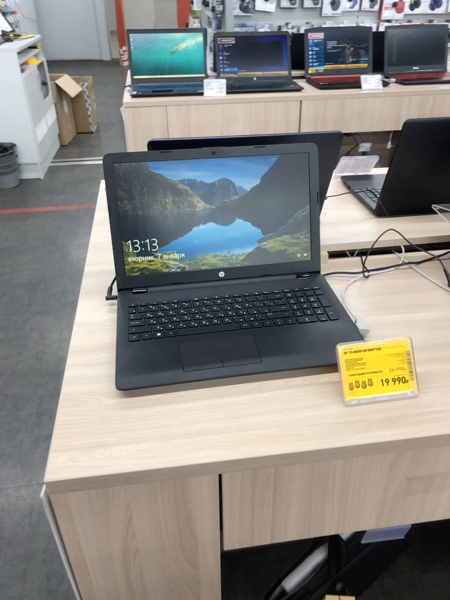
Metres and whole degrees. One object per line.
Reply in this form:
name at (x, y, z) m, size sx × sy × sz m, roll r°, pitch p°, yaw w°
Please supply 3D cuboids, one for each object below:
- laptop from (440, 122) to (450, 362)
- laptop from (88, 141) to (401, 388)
laptop at (0.629, -0.117, 0.808) m, size 0.370 × 0.226 × 0.340 m, roll -4°, pitch 34°, yaw -4°
laptop at (0.006, -0.083, 0.781) m, size 0.376 × 0.217 × 0.343 m, roll -5°, pitch 34°, yaw -7°
